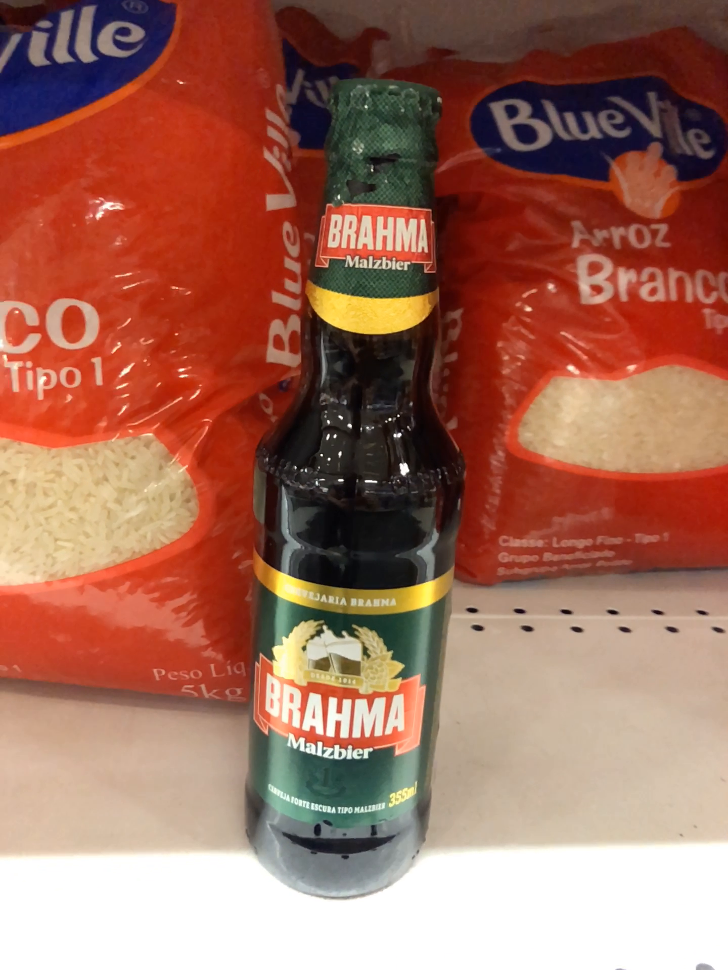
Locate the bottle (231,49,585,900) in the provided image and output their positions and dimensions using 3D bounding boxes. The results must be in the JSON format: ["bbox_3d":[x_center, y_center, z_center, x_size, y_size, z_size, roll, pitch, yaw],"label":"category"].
[{"bbox_3d":[0.002,0.009,0.235,0.070,0.228,0.060,3,21,-3],"label":"bottle"}]
